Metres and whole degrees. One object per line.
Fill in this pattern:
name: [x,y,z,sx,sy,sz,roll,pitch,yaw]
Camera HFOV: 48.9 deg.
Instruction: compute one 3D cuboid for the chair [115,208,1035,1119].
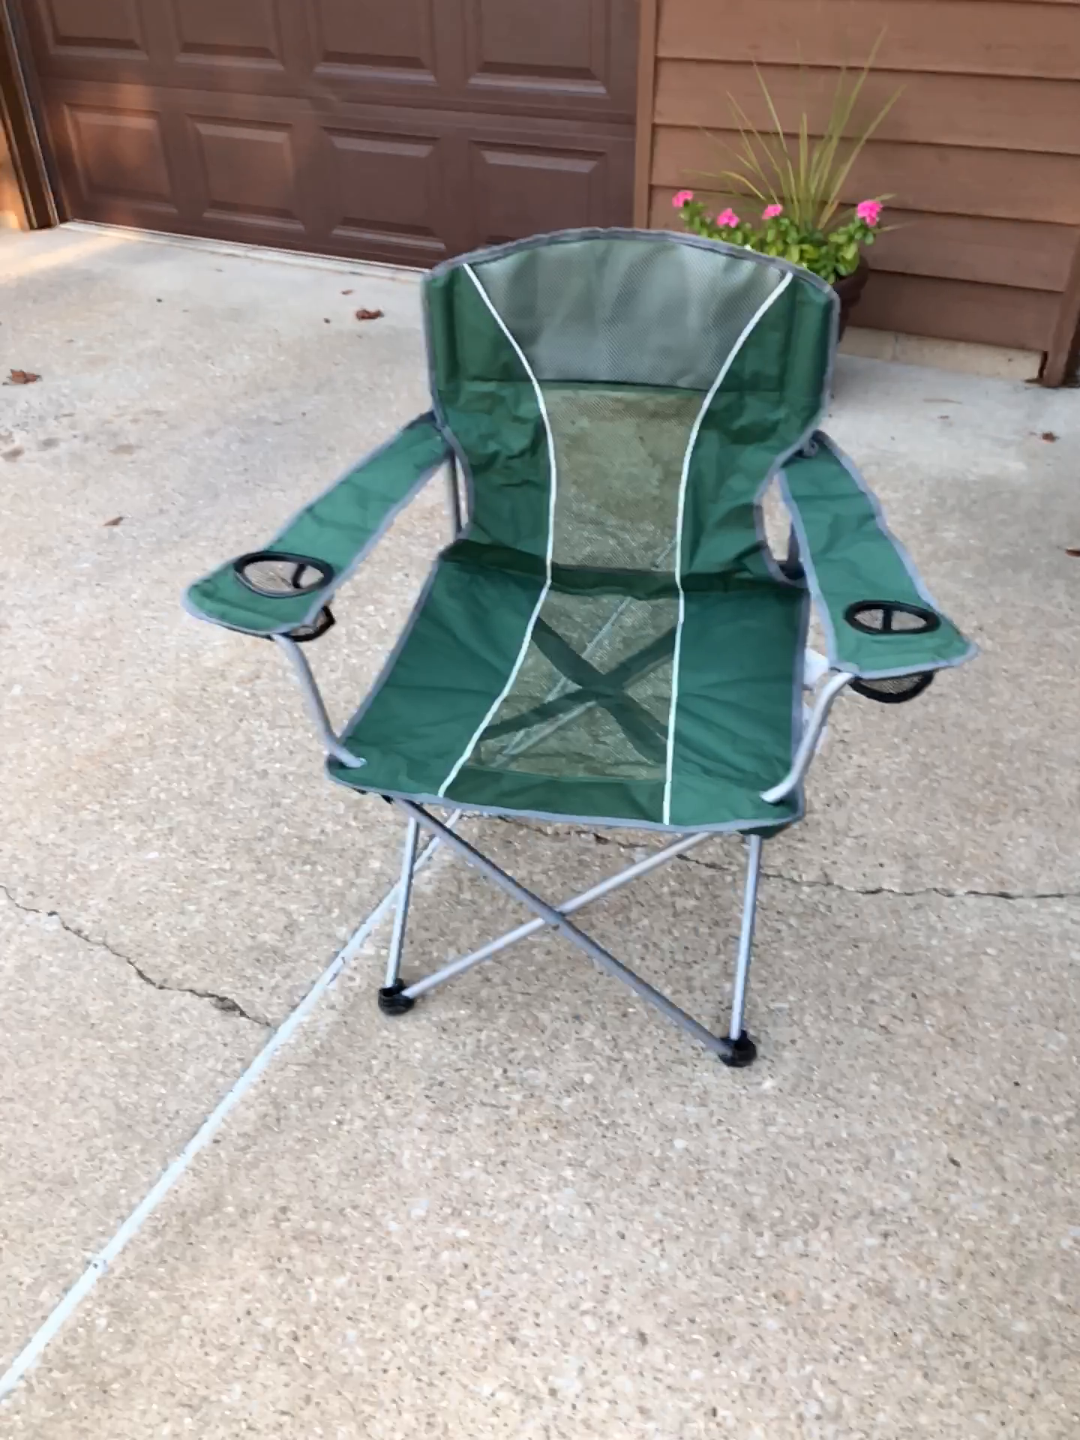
chair: [0.078,-0.097,1.557,0.820,0.908,0.641,7,37,11]
